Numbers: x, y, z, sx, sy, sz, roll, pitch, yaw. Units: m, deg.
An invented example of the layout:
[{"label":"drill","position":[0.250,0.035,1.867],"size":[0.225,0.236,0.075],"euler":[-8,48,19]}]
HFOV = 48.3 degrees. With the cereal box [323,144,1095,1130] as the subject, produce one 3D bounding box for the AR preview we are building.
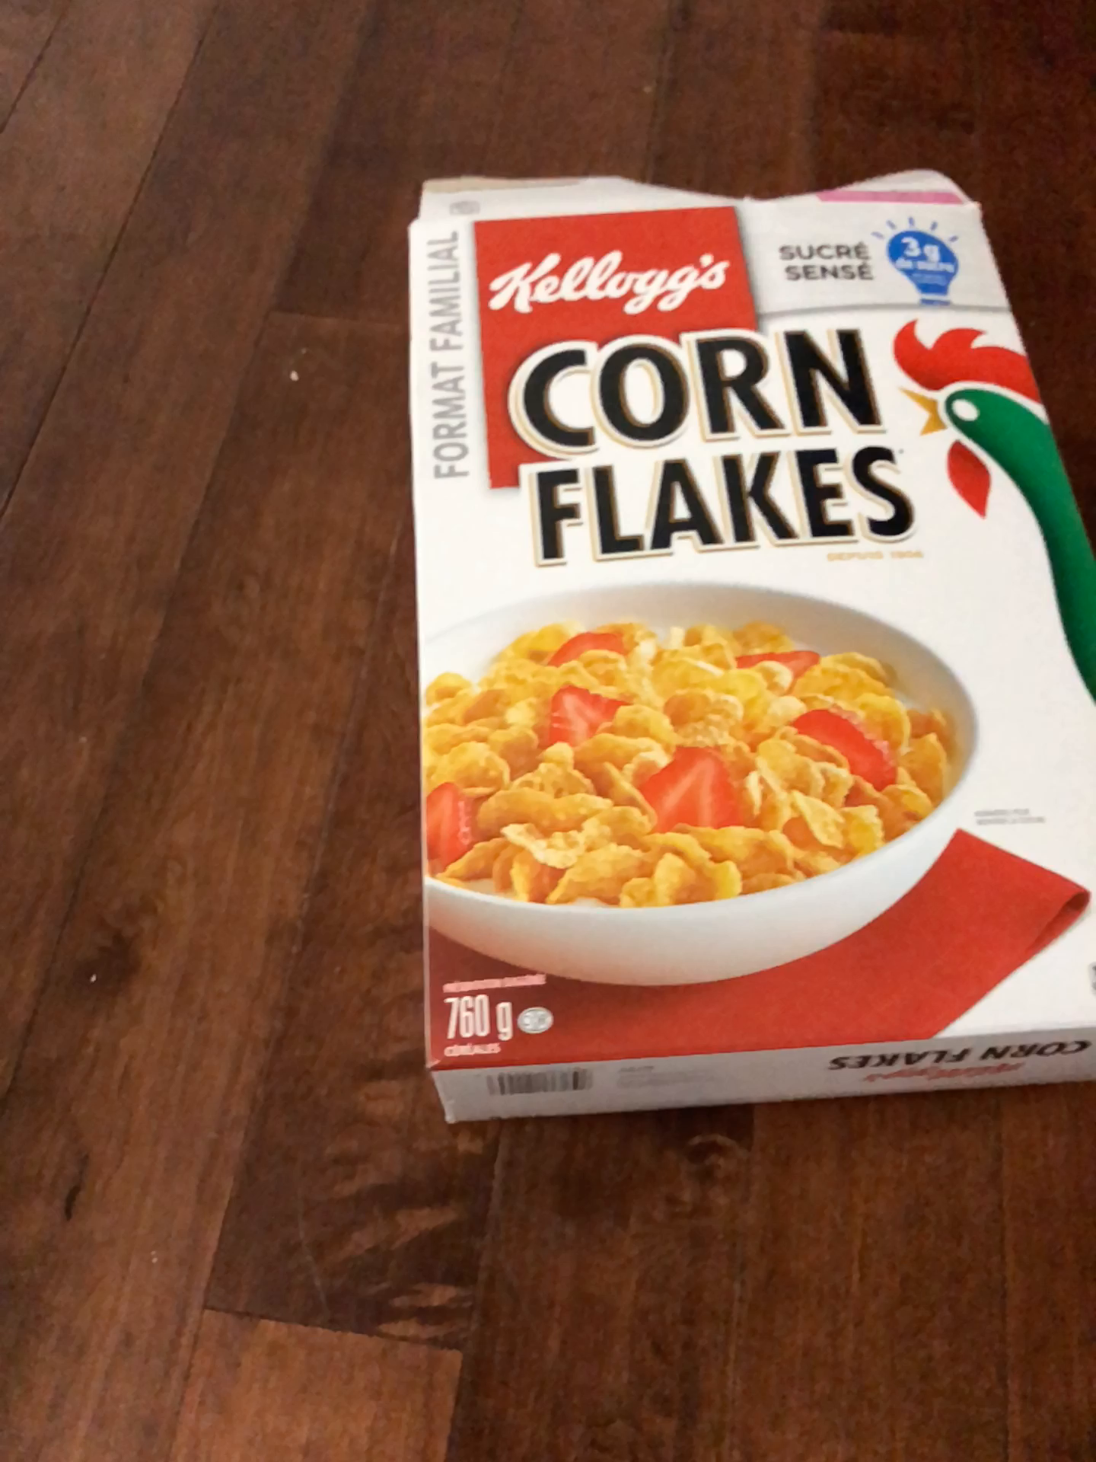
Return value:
[{"label":"cereal box","position":[0.054,-0.055,0.479],"size":[0.260,0.090,0.380],"euler":[-3,64,-2]}]
